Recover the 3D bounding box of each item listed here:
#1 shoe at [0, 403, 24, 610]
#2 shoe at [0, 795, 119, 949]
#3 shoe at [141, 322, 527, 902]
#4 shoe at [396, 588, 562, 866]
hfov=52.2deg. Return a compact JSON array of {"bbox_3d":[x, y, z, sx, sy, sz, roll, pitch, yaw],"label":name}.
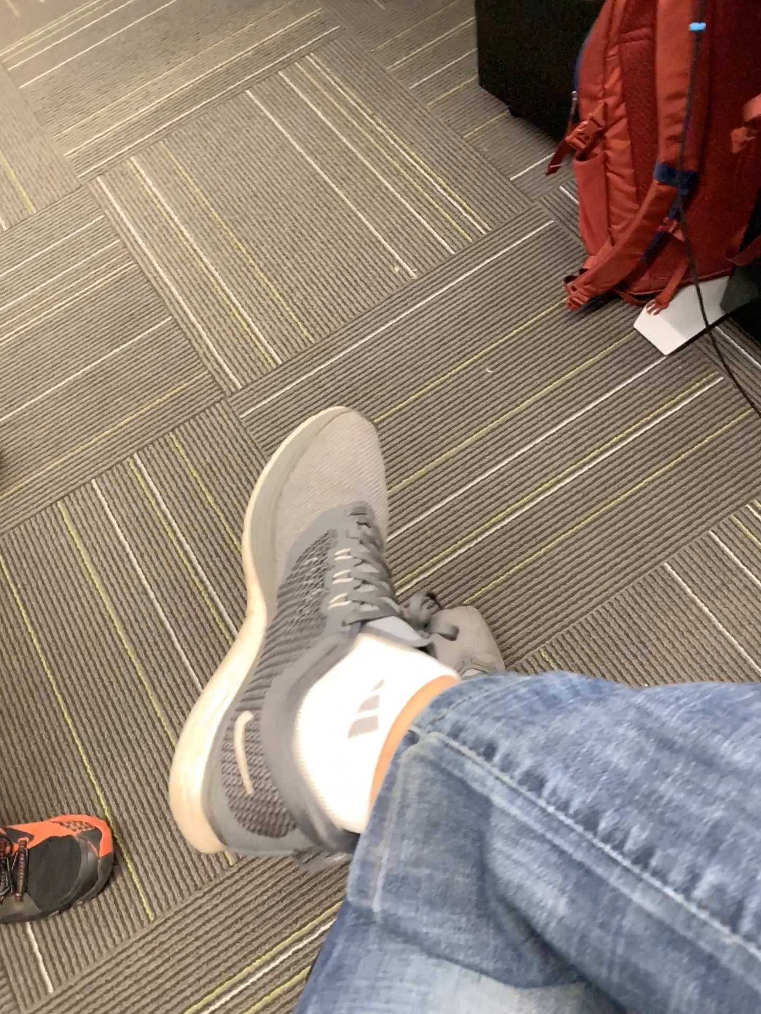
[{"bbox_3d":[-0.712,-0.007,1.178,0.112,0.108,0.294,22,64,38],"label":"shoe"},{"bbox_3d":[-0.487,0.461,0.977,0.276,0.117,0.112,-10,56,-2],"label":"shoe"},{"bbox_3d":[-0.015,0.060,0.471,0.142,0.115,0.295,-15,55,41],"label":"shoe"},{"bbox_3d":[0.113,0.259,0.932,0.117,0.074,0.293,-15,65,3],"label":"shoe"}]
